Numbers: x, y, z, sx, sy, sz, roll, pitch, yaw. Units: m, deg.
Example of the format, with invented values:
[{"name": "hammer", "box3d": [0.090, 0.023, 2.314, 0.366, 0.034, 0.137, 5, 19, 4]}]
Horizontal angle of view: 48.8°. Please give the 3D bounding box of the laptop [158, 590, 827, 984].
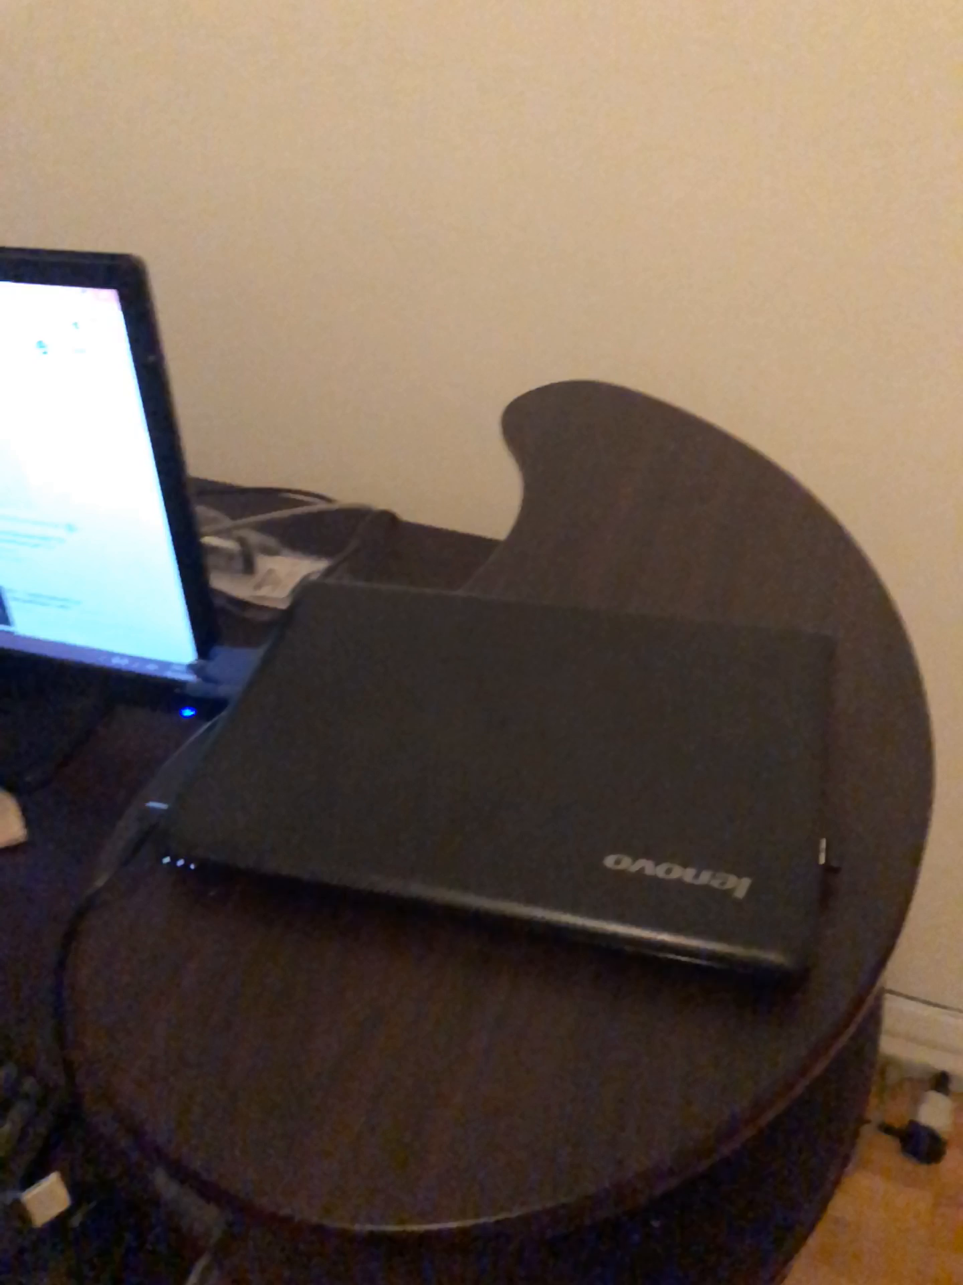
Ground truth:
[{"name": "laptop", "box3d": [0.011, 0.045, 0.466, 0.259, 0.008, 0.173, 6, 44, 18]}]
